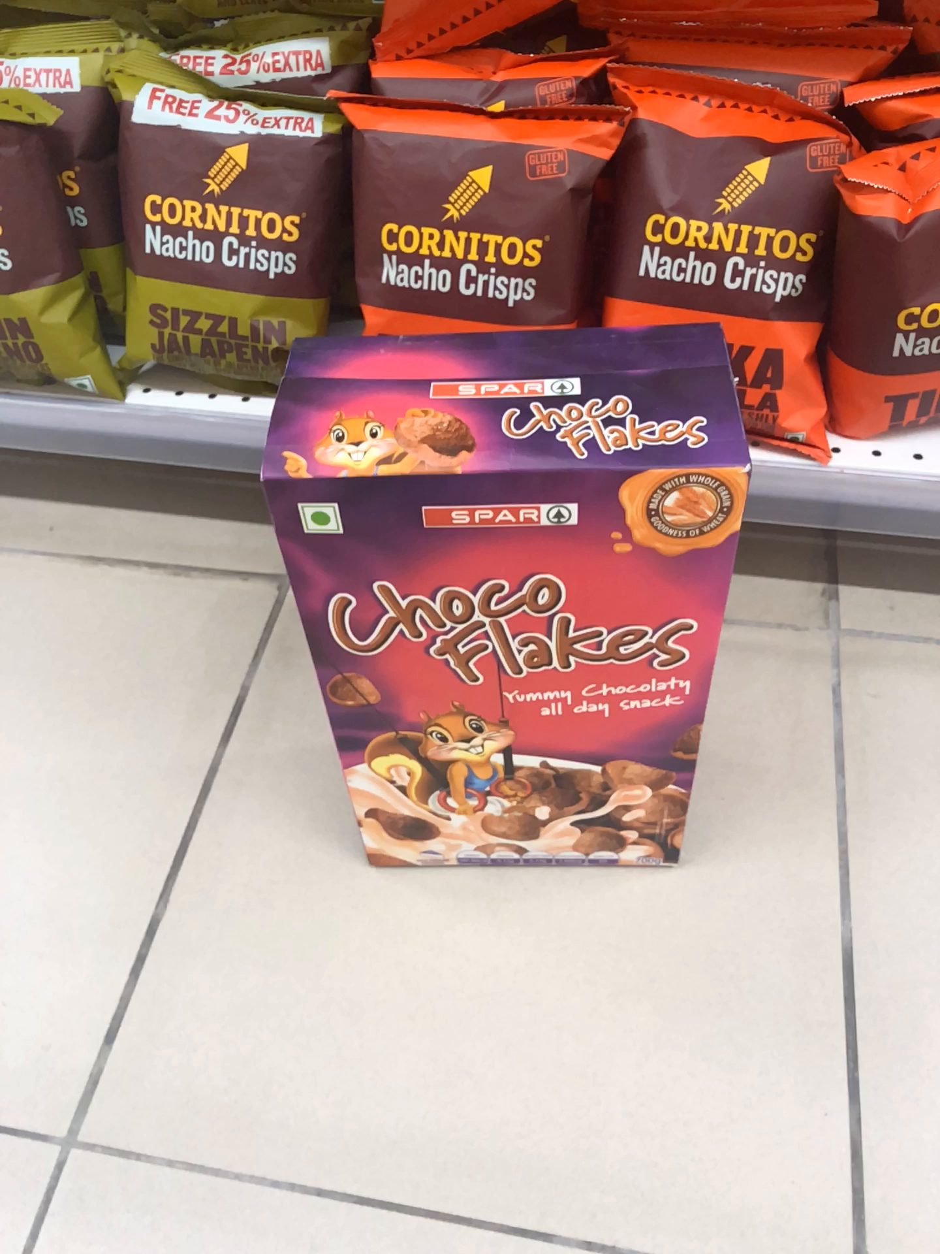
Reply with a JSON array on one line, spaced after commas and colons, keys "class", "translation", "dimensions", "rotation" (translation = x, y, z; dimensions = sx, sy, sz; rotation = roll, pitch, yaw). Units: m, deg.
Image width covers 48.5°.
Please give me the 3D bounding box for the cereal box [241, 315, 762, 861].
[{"class": "cereal box", "translation": [0.021, 0.008, 0.561], "dimensions": [0.200, 0.339, 0.090], "rotation": [-1, 52, 4]}]
